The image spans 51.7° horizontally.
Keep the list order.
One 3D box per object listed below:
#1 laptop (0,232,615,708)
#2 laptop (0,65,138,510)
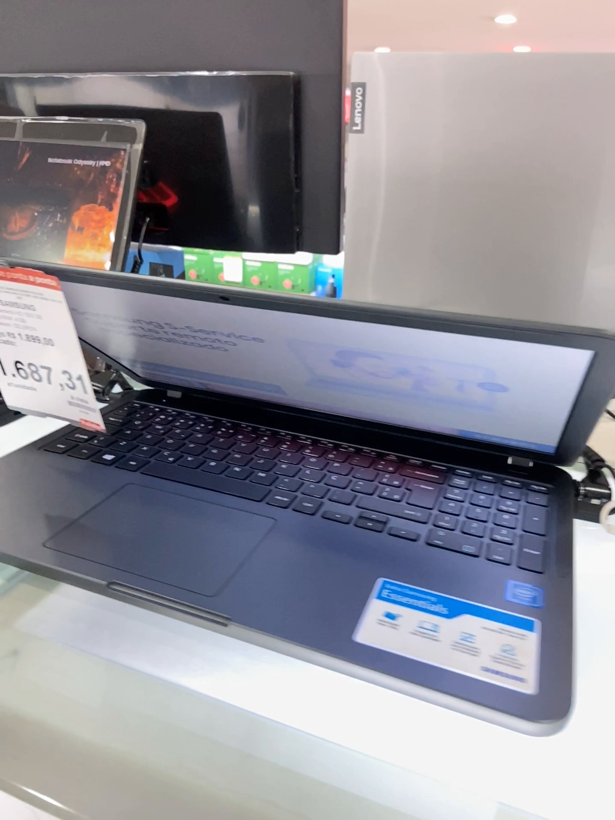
[{"bbox_3d":[-0.023,-0.014,0.394,0.367,0.140,0.236,10,22,19],"label":"laptop"},{"bbox_3d":[-0.410,-0.154,0.574,0.394,0.223,0.373,10,23,16],"label":"laptop"}]
